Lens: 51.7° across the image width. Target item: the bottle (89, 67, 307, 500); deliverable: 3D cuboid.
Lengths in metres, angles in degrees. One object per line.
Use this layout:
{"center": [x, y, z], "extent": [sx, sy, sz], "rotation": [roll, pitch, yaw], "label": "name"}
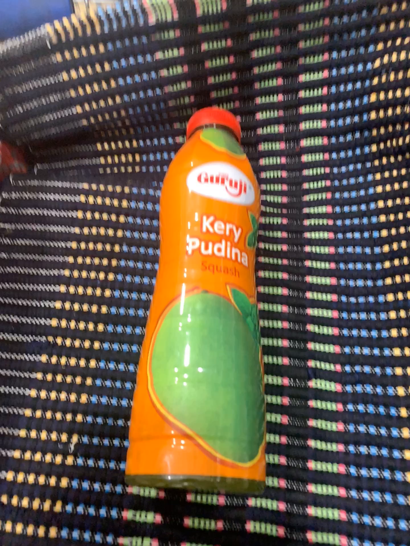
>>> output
{"center": [0.003, -0.002, 0.246], "extent": [0.070, 0.070, 0.230], "rotation": [27, 54, -35], "label": "bottle"}
